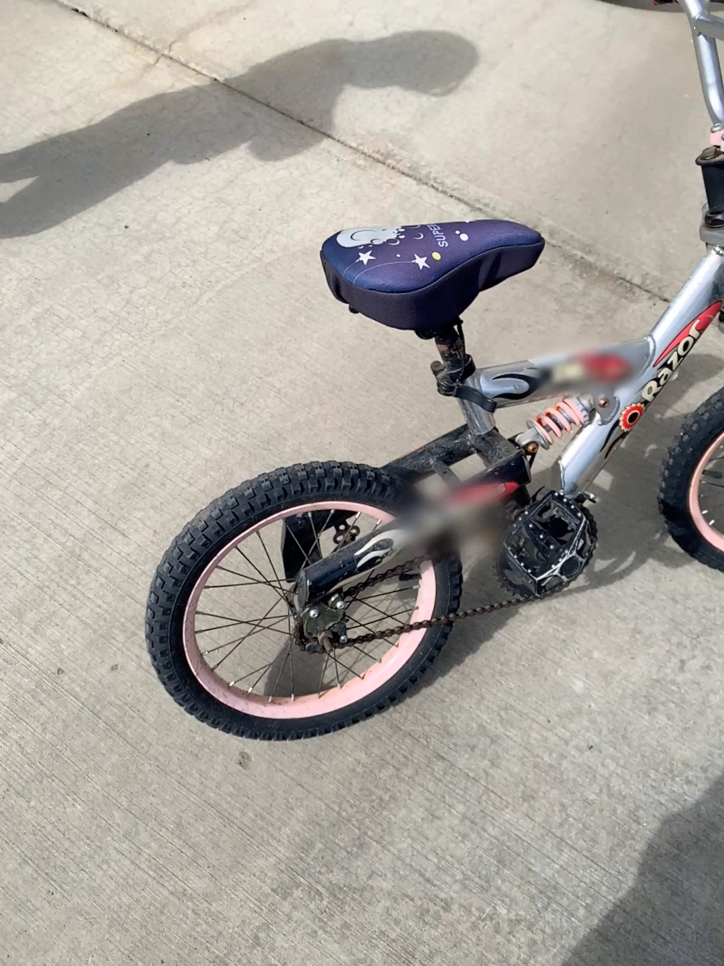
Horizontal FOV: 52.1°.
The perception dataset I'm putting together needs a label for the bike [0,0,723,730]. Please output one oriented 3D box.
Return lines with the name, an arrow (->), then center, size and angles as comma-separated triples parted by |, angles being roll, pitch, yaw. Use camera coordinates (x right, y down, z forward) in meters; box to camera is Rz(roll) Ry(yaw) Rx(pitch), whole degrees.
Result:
bike -> 0.261, -0.172, 0.872 | 1.123, 0.692, 0.359 | -16, 59, -16
